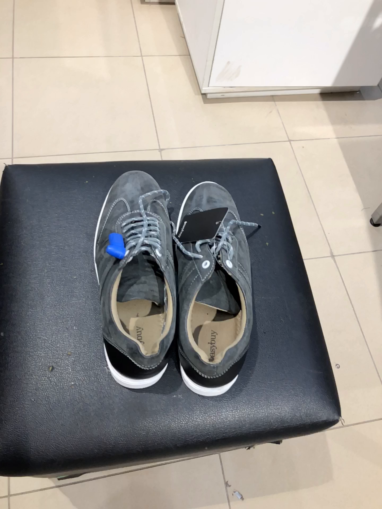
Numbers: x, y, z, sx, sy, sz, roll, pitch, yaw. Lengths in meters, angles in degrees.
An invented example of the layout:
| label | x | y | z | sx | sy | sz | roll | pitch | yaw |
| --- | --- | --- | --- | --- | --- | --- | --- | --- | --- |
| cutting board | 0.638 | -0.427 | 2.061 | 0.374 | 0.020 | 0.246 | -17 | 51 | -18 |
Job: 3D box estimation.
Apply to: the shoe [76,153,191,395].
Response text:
| label | x | y | z | sx | sy | sz | roll | pitch | yaw |
| --- | --- | --- | --- | --- | --- | --- | --- | --- | --- |
| shoe | -0.066 | 0.017 | 0.476 | 0.100 | 0.107 | 0.250 | -1 | 62 | -8 |

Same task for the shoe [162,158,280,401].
| label | x | y | z | sx | sy | sz | roll | pitch | yaw |
| --- | --- | --- | --- | --- | --- | --- | --- | --- | --- |
| shoe | 0.029 | 0.026 | 0.481 | 0.100 | 0.107 | 0.250 | 5 | 61 | -5 |
